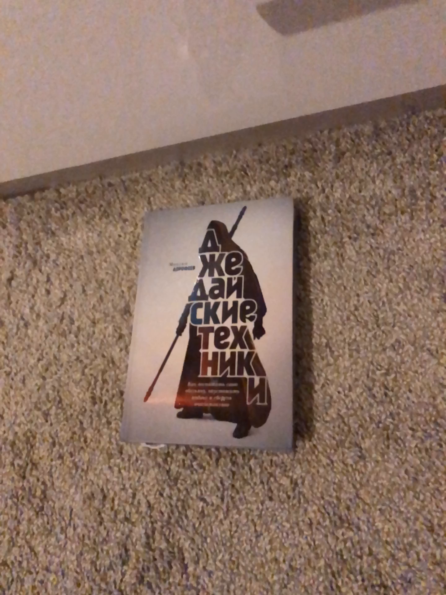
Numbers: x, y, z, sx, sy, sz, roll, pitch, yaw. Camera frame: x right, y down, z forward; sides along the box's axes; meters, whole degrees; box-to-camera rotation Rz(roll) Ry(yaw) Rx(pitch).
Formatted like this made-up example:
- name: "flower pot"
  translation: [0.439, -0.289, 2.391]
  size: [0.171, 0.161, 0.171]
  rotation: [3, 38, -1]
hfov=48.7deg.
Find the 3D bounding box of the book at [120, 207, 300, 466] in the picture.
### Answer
- name: "book"
  translation: [-0.008, 0.031, 0.445]
  size: [0.150, 0.026, 0.221]
  rotation: [-3, 71, 18]
